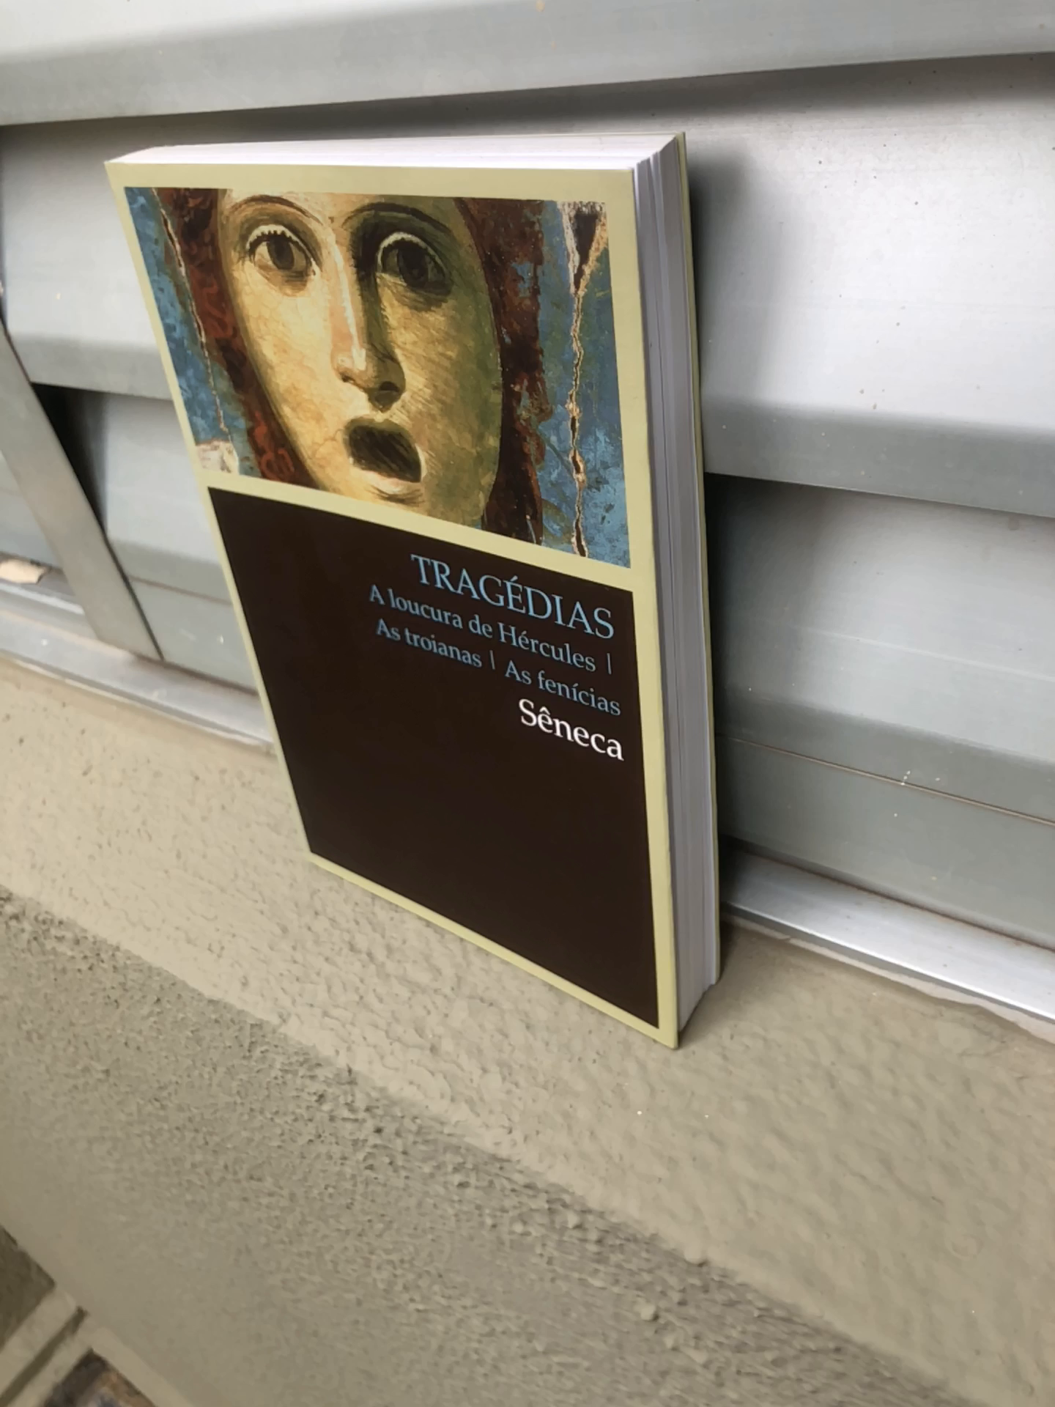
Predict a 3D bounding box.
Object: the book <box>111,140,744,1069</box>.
[{"bbox_3d":[-0.019,-0.023,0.279,0.145,0.196,0.026,20,41,37],"label":"book"}]
